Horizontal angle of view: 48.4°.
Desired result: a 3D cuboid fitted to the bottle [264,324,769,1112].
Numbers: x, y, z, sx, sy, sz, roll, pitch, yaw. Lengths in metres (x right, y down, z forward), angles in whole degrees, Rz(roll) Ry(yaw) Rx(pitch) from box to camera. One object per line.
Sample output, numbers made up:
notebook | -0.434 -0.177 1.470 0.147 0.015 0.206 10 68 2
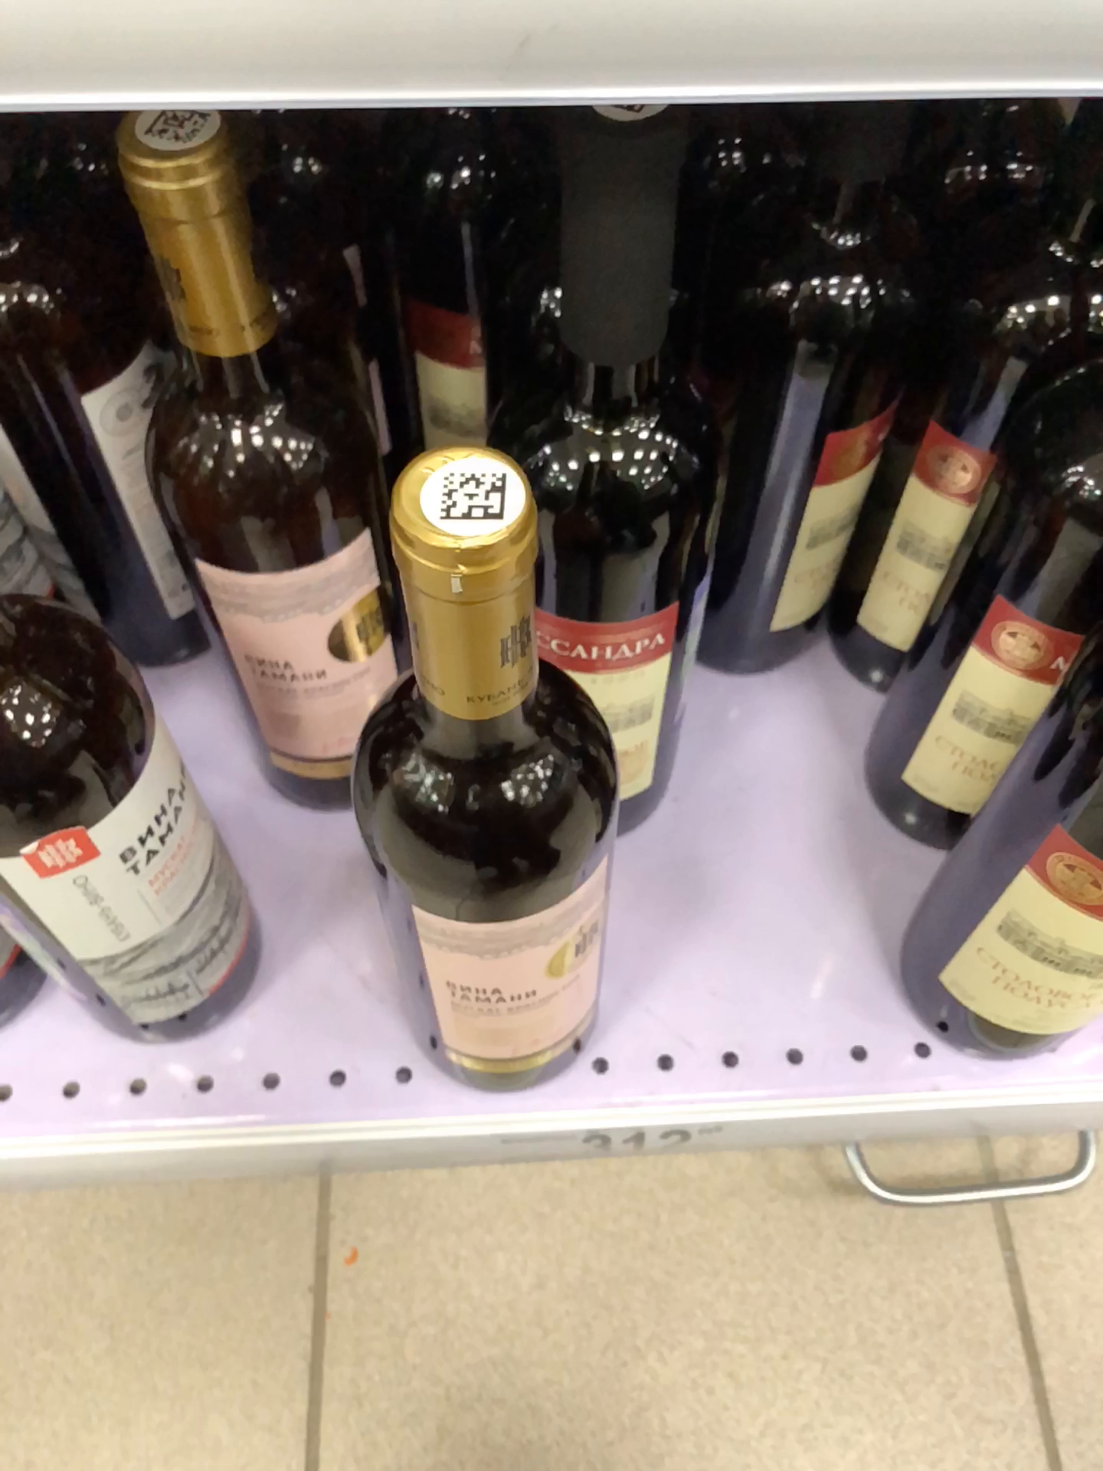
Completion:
bottle | -0.011 0.028 0.350 0.080 0.290 0.070 -10 60 -7
